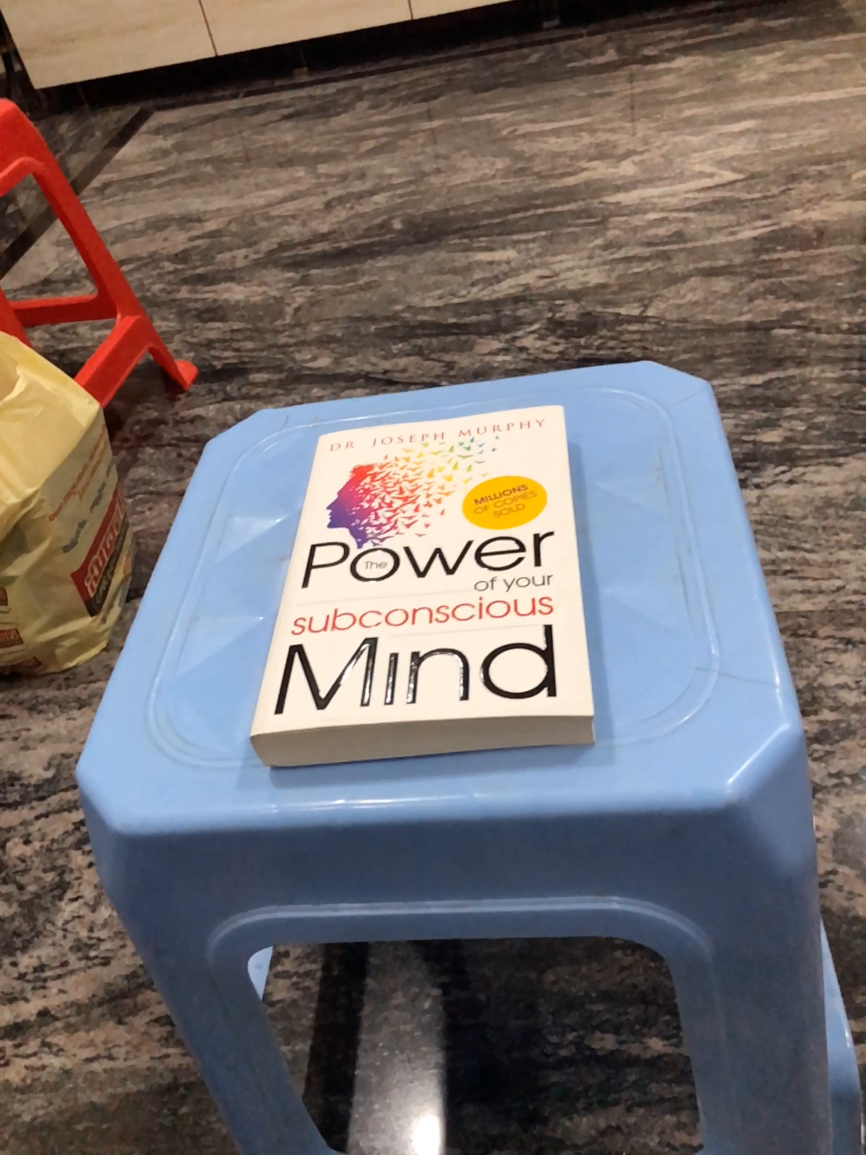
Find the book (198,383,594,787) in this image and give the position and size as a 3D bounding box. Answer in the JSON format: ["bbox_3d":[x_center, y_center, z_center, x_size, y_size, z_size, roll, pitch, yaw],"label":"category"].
[{"bbox_3d":[-0.010,-0.007,0.417,0.140,0.030,0.201,-6,43,9],"label":"book"}]
